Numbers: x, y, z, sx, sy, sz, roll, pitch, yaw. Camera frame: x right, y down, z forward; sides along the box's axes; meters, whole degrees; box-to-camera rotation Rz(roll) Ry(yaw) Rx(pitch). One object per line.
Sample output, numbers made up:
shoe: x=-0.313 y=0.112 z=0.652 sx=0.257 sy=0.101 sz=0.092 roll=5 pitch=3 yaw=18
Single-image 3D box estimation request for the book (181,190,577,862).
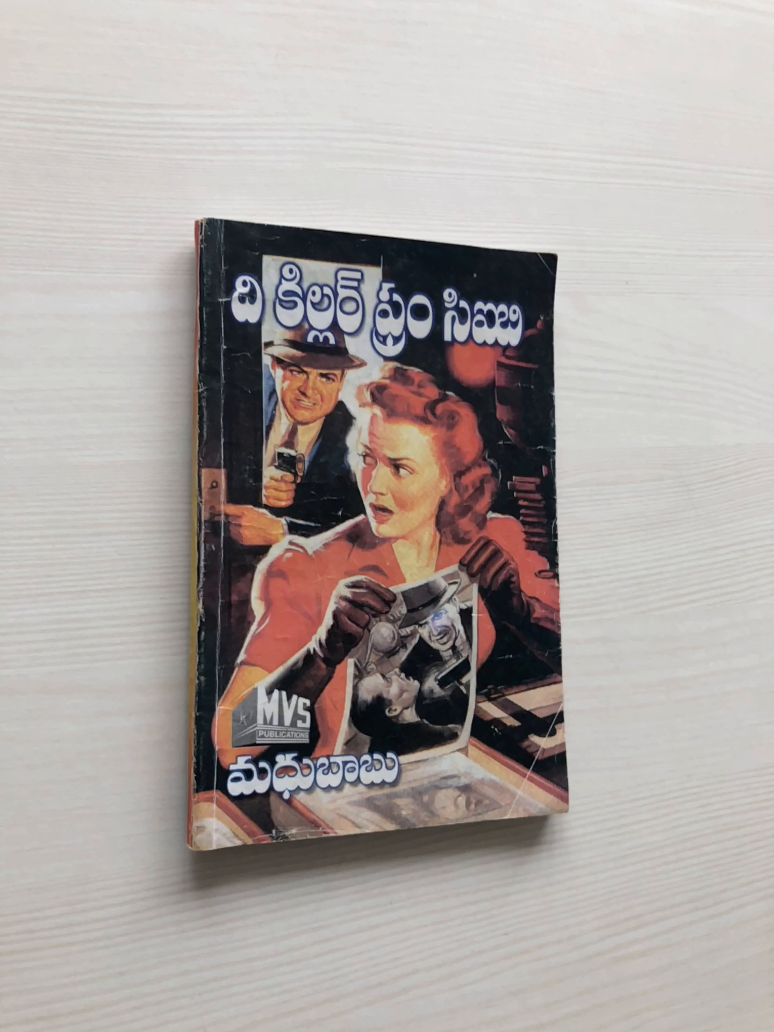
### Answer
book: x=-0.001 y=0.000 z=0.226 sx=0.100 sy=0.012 sz=0.160 roll=1 pitch=83 yaw=-18
